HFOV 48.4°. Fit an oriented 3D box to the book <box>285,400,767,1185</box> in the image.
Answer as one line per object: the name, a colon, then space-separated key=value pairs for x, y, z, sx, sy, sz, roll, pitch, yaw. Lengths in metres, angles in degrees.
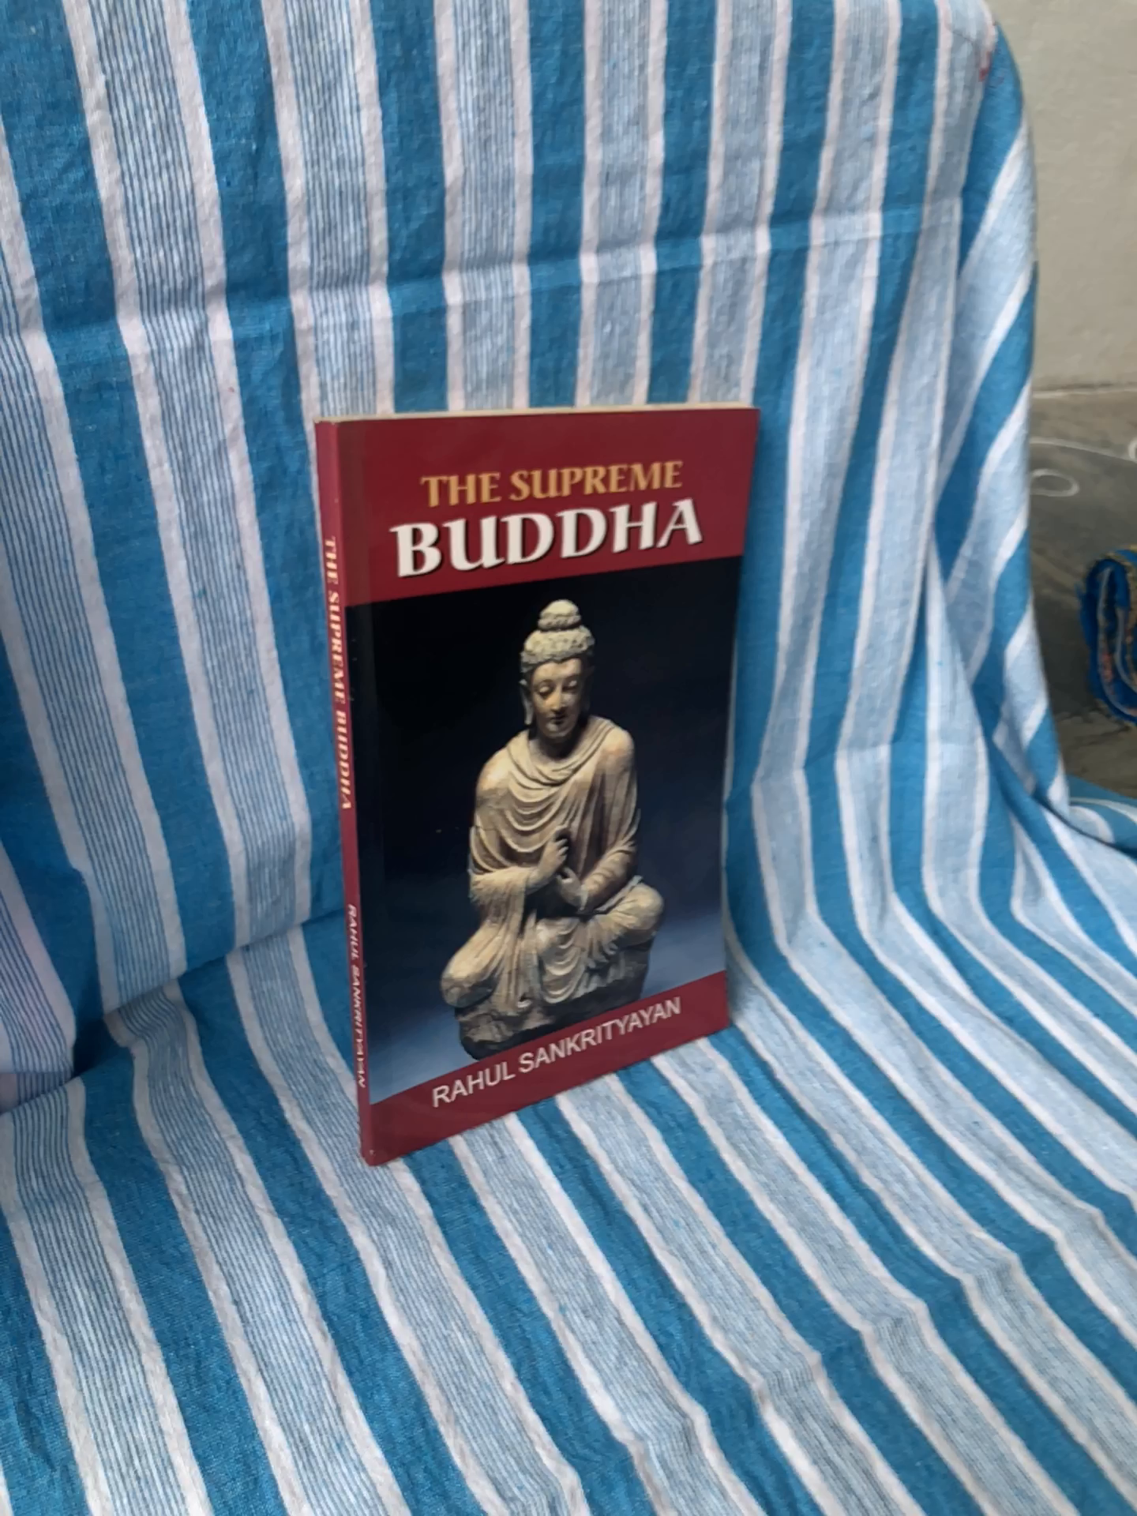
book: x=-0.005 y=0.005 z=0.390 sx=0.151 sy=0.219 sz=0.020 roll=-12 pitch=21 yaw=-34
